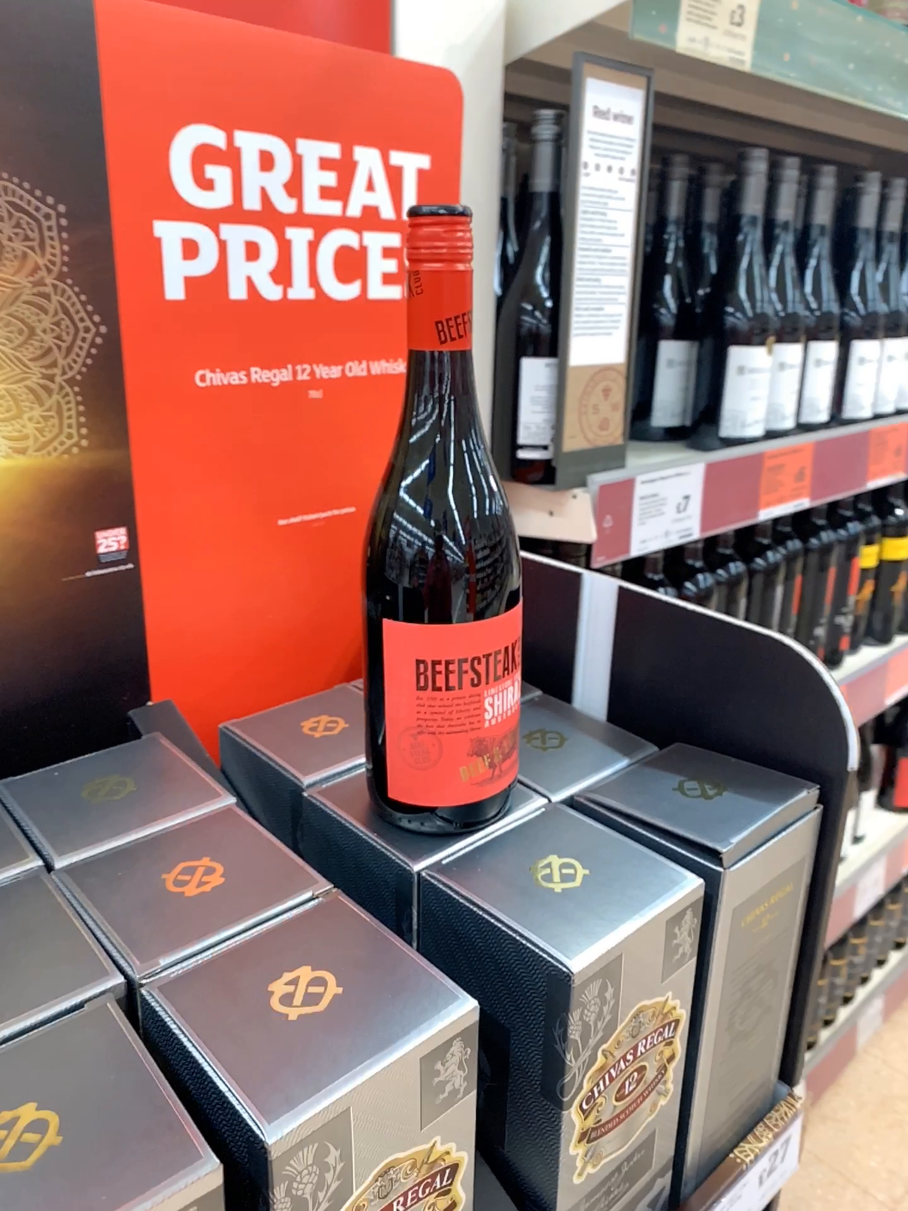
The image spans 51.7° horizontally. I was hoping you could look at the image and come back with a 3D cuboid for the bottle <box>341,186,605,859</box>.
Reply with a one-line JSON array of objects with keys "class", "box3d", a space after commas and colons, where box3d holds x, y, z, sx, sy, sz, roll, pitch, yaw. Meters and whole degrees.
[{"class": "bottle", "box3d": [0.001, -0.036, 0.439, 0.083, 0.284, 0.080, 2, 19, -1]}]
